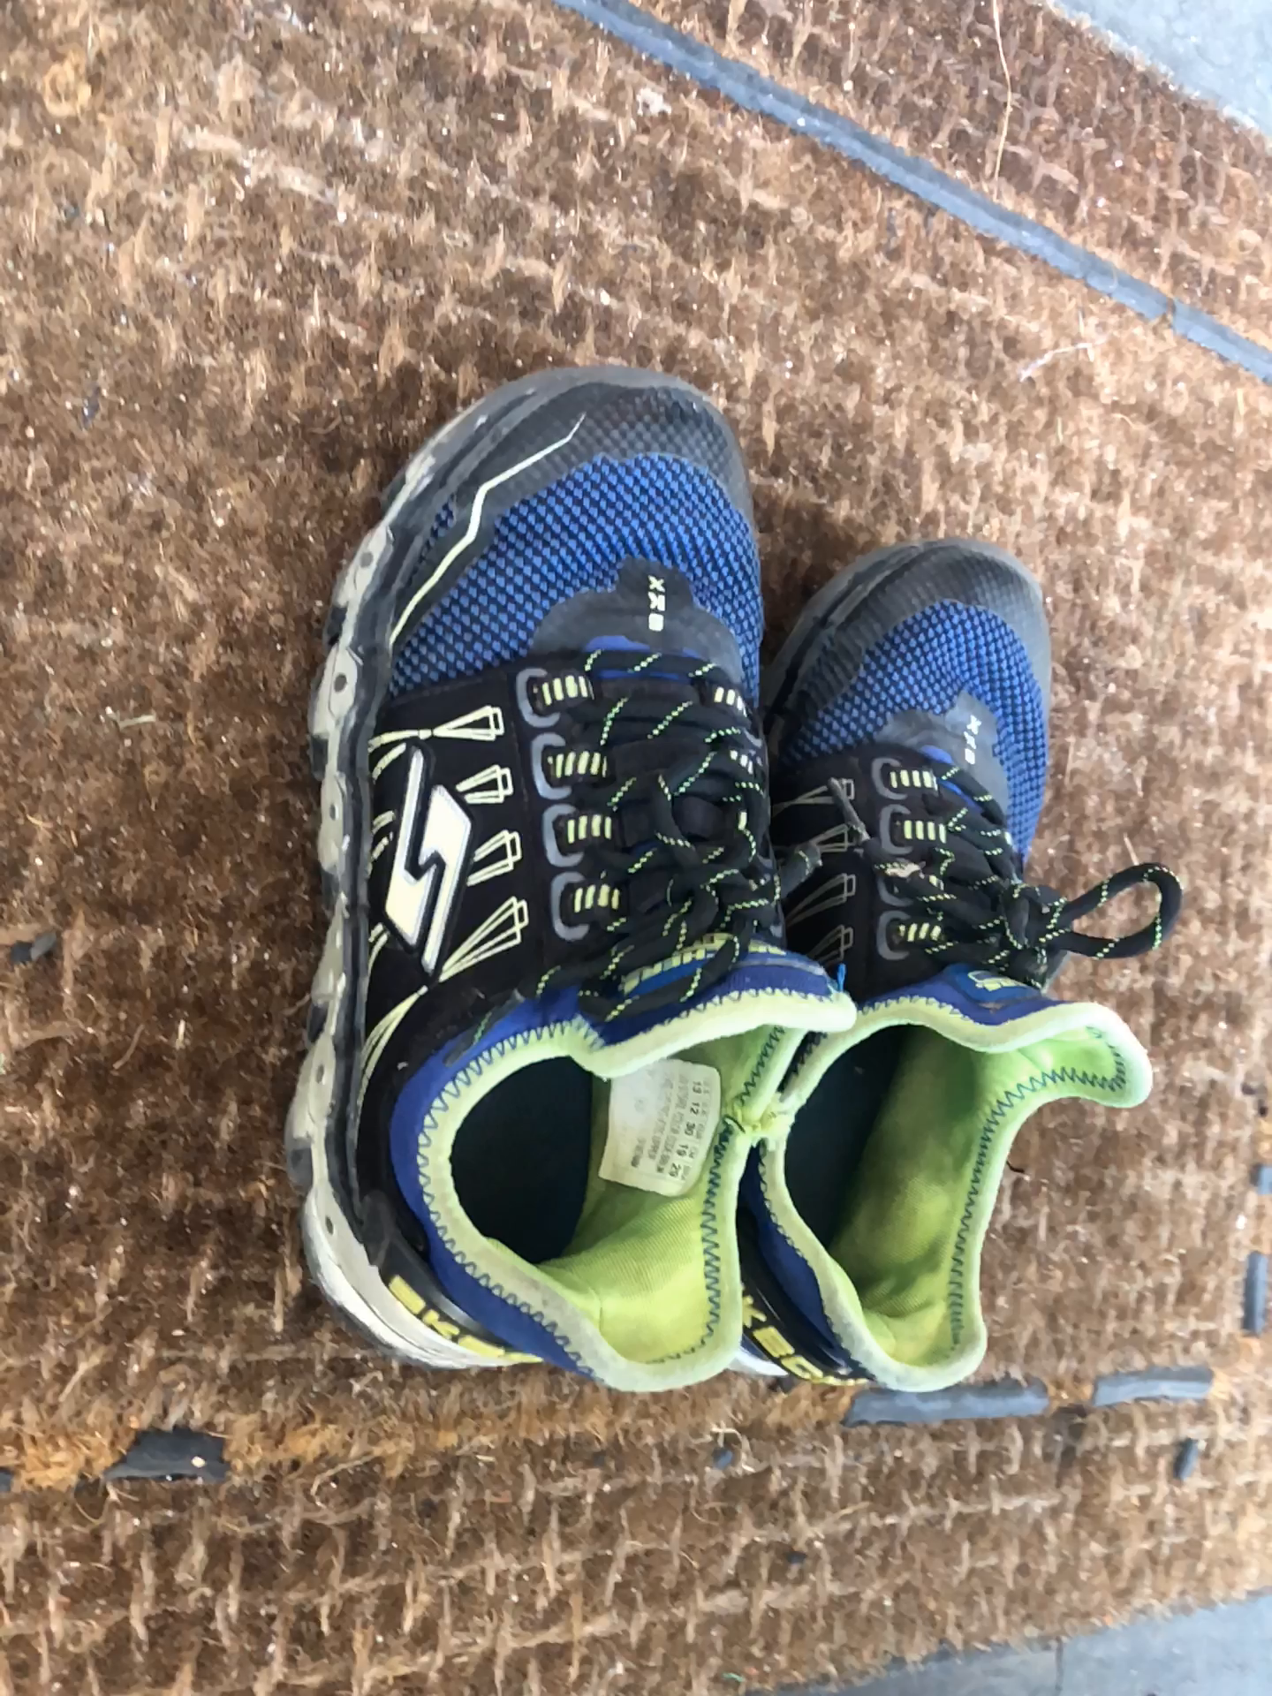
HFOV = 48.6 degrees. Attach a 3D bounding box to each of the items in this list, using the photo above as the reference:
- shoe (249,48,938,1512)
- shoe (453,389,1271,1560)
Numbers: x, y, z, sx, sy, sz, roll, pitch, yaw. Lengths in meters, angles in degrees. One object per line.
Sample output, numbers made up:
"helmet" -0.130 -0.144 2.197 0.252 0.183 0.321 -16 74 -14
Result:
"shoe" -0.012 -0.010 0.286 0.090 0.100 0.230 5 87 -31
"shoe" 0.058 0.023 0.307 0.090 0.100 0.200 29 75 -27
